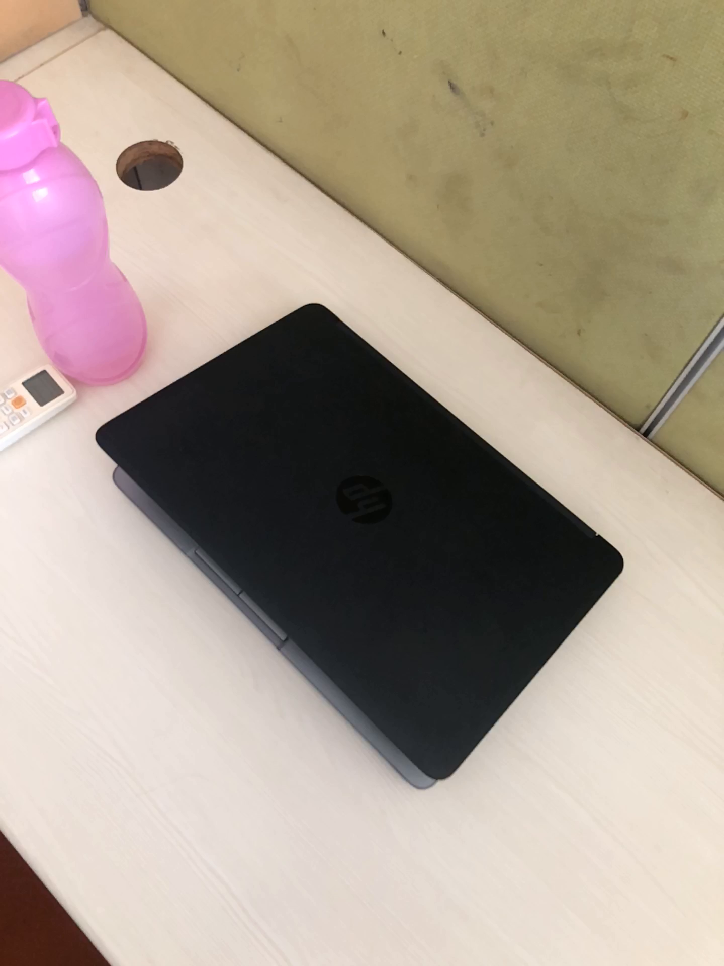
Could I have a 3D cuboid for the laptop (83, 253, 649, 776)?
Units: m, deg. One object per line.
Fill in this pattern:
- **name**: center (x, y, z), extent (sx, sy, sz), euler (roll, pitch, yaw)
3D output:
- **laptop**: center (-0.003, 0.005, 0.583), extent (0.226, 0.050, 0.330), euler (-42, 73, -17)
